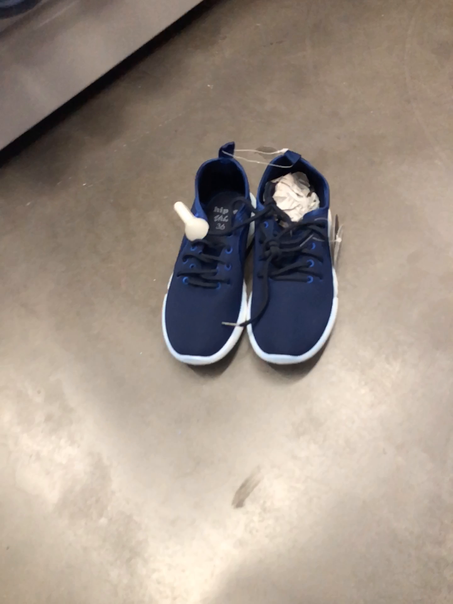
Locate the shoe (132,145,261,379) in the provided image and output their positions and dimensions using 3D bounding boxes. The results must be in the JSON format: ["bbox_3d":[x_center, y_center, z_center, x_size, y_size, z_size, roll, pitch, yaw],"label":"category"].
[{"bbox_3d":[-0.021,-0.050,0.531,0.090,0.090,0.241,3,61,9],"label":"shoe"}]

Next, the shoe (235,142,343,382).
[{"bbox_3d":[0.072,-0.049,0.518,0.090,0.090,0.241,3,61,9],"label":"shoe"}]
